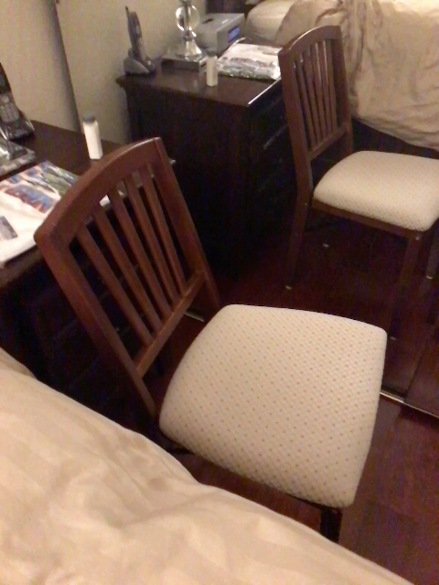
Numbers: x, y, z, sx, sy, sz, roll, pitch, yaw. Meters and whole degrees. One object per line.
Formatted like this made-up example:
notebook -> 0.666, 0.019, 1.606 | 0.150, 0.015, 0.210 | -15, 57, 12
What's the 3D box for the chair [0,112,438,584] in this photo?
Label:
chair -> 0.004, 0.241, 1.121 | 0.690, 1.032, 0.625 | 12, 43, 15
